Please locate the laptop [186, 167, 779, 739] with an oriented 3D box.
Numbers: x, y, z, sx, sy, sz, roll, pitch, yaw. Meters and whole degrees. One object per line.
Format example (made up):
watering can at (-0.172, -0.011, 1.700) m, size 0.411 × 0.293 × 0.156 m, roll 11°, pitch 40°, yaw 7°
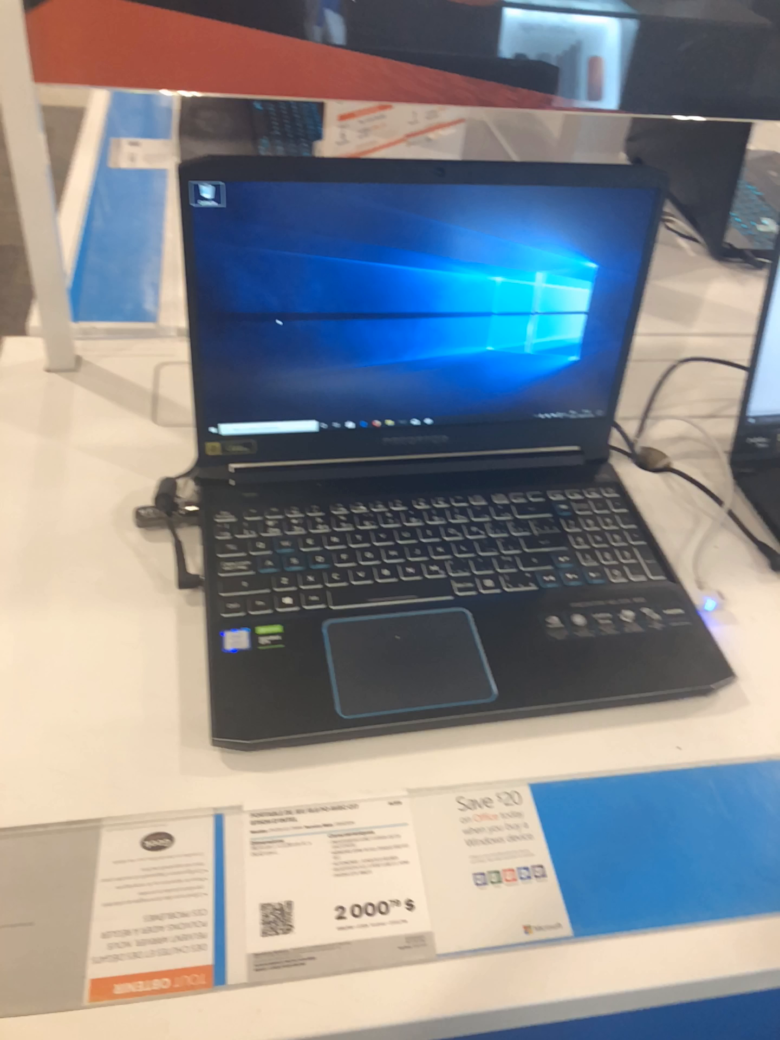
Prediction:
laptop at (0.050, -0.060, 0.570) m, size 0.348 × 0.230 × 0.274 m, roll -4°, pitch 45°, yaw -11°
